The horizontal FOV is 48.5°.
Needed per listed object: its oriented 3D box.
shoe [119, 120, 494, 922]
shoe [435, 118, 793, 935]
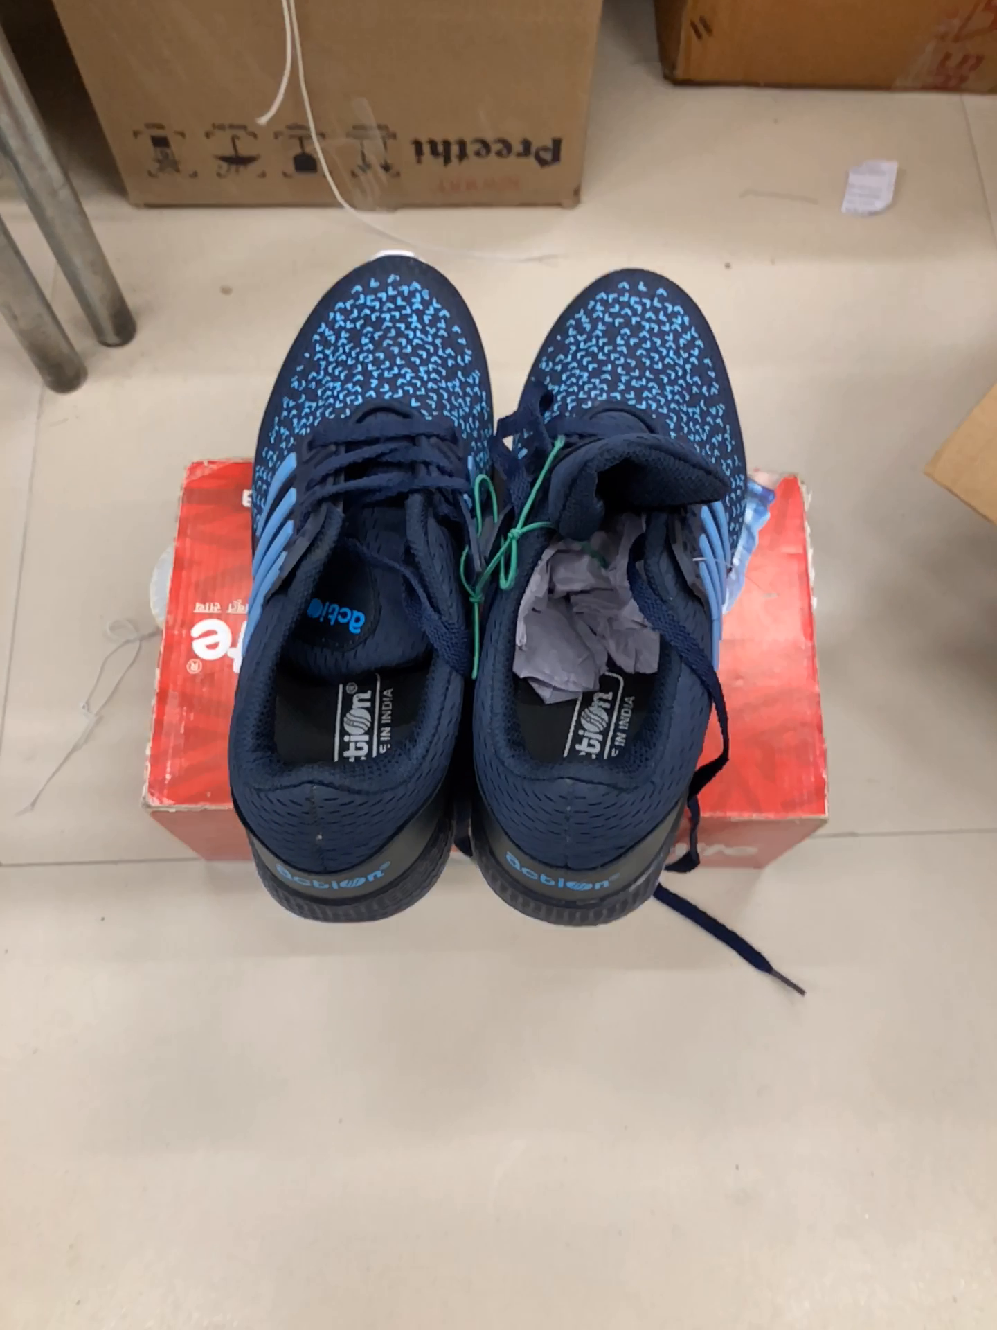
[{"bbox_3d":[-0.054,-0.047,0.412,0.101,0.133,0.264,1,70,-1],"label":"shoe"},{"bbox_3d":[0.043,-0.046,0.413,0.093,0.133,0.264,7,70,1],"label":"shoe"}]
